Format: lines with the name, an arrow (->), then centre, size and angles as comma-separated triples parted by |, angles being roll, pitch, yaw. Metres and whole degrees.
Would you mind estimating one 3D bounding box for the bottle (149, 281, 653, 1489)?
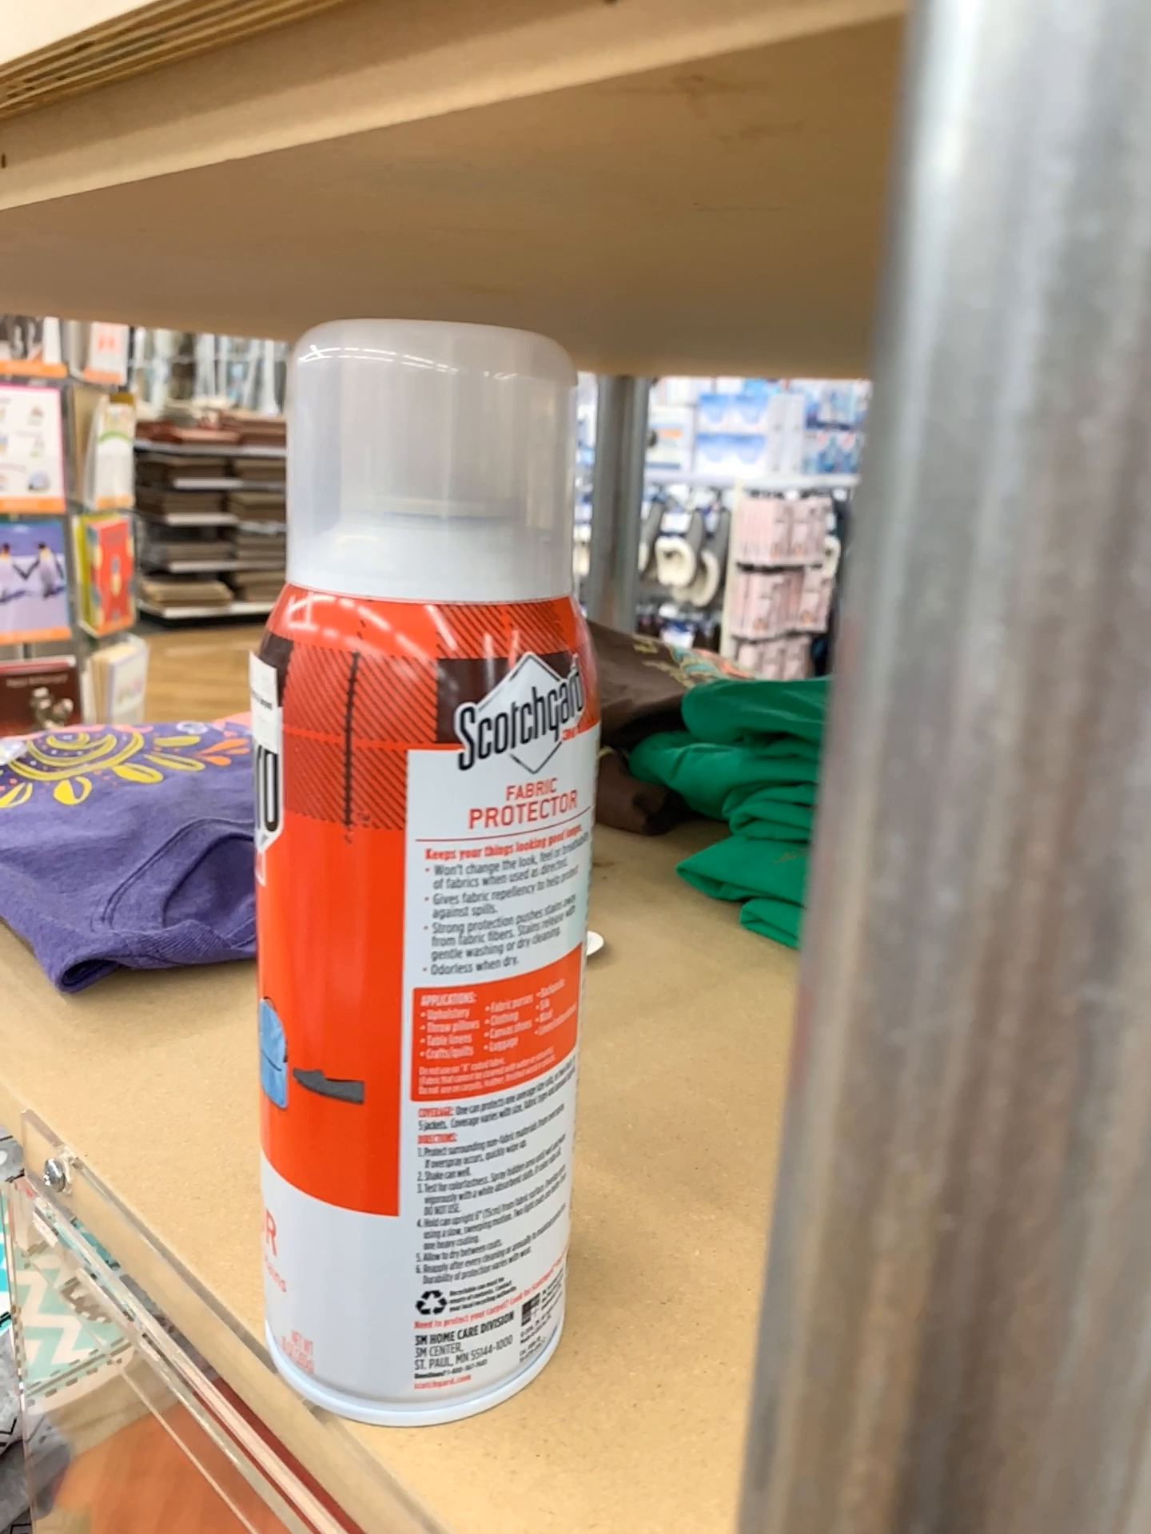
bottle -> -0.030, 0.022, 0.231 | 0.067, 0.206, 0.069 | 3, 15, -1
